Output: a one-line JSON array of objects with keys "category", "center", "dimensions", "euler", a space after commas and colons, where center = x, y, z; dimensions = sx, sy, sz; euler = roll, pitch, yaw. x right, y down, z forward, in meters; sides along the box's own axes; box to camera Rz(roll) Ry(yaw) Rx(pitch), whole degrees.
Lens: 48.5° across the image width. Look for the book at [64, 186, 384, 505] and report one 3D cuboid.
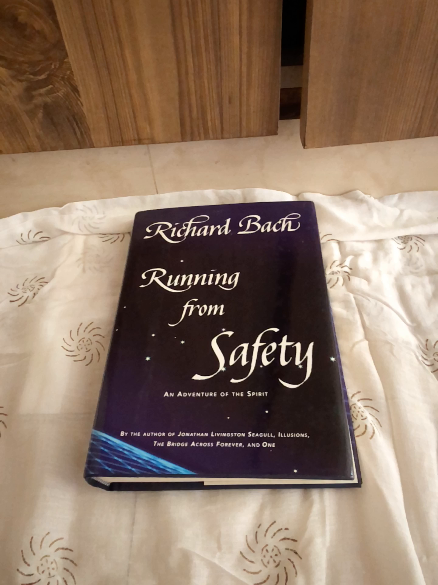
[{"category": "book", "center": [0.004, 0.017, 0.357], "dimensions": [0.170, 0.040, 0.251], "euler": [2, 49, -1]}]
